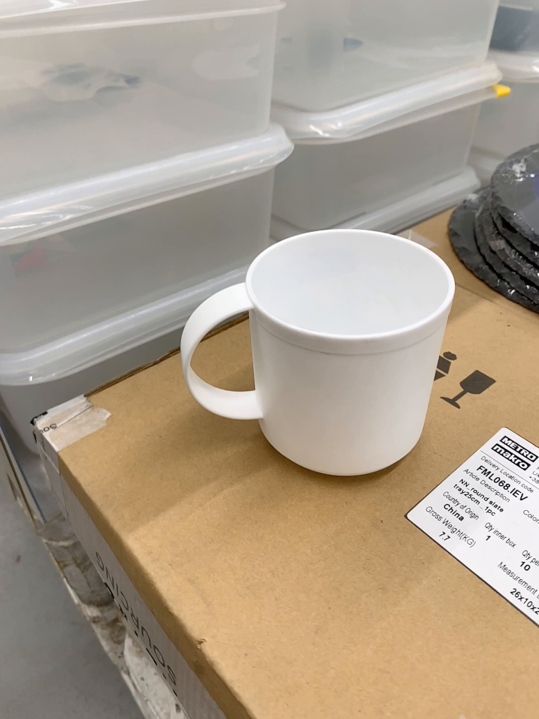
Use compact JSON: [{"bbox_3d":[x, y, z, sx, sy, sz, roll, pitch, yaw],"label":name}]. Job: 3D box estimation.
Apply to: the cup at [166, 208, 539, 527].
[{"bbox_3d":[0.025,-0.002,0.223,0.113,0.075,0.080,-10,39,-10],"label":"cup"}]
